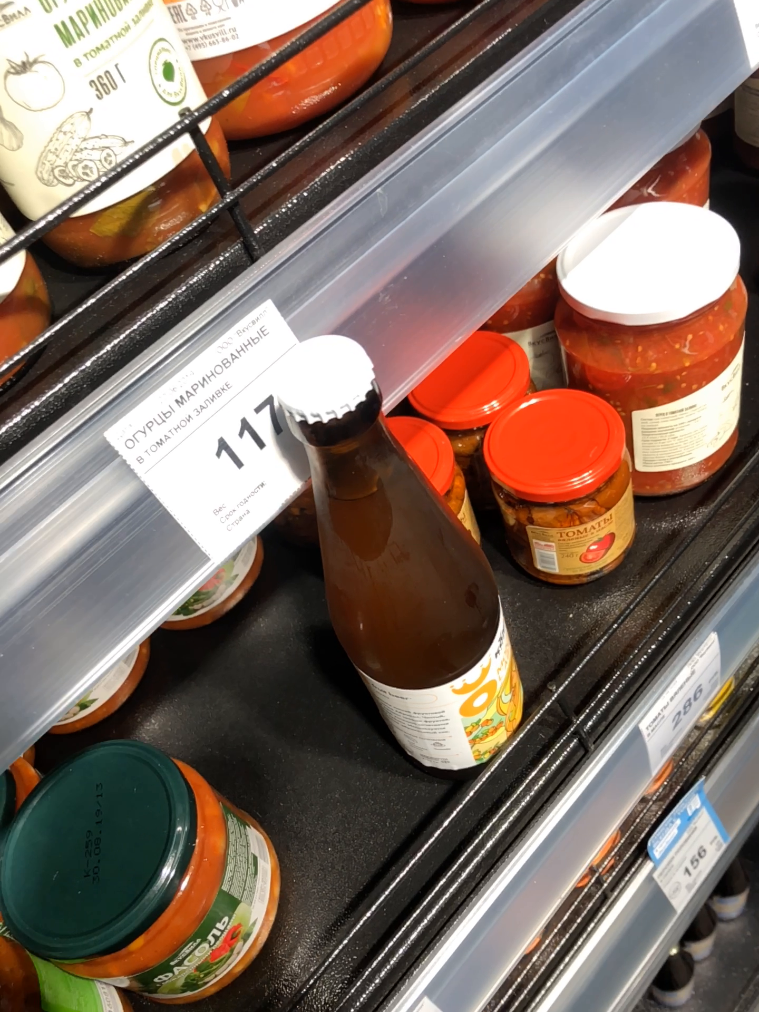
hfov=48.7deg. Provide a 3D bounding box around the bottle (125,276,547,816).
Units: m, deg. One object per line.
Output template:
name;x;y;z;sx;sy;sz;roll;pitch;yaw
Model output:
bottle;0.008;0.036;0.322;0.070;0.249;0.070;-9;51;12
